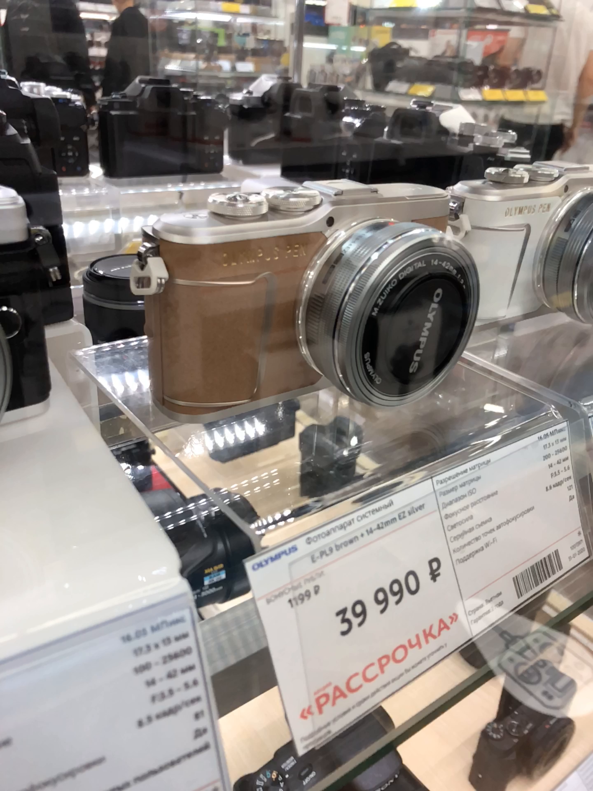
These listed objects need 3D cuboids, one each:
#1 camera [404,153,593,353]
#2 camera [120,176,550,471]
[{"bbox_3d":[0.115,-0.069,0.289,0.122,0.060,0.060,-16,33,-34],"label":"camera"},{"bbox_3d":[0.014,-0.033,0.215,0.122,0.060,0.060,-16,33,-34],"label":"camera"}]
